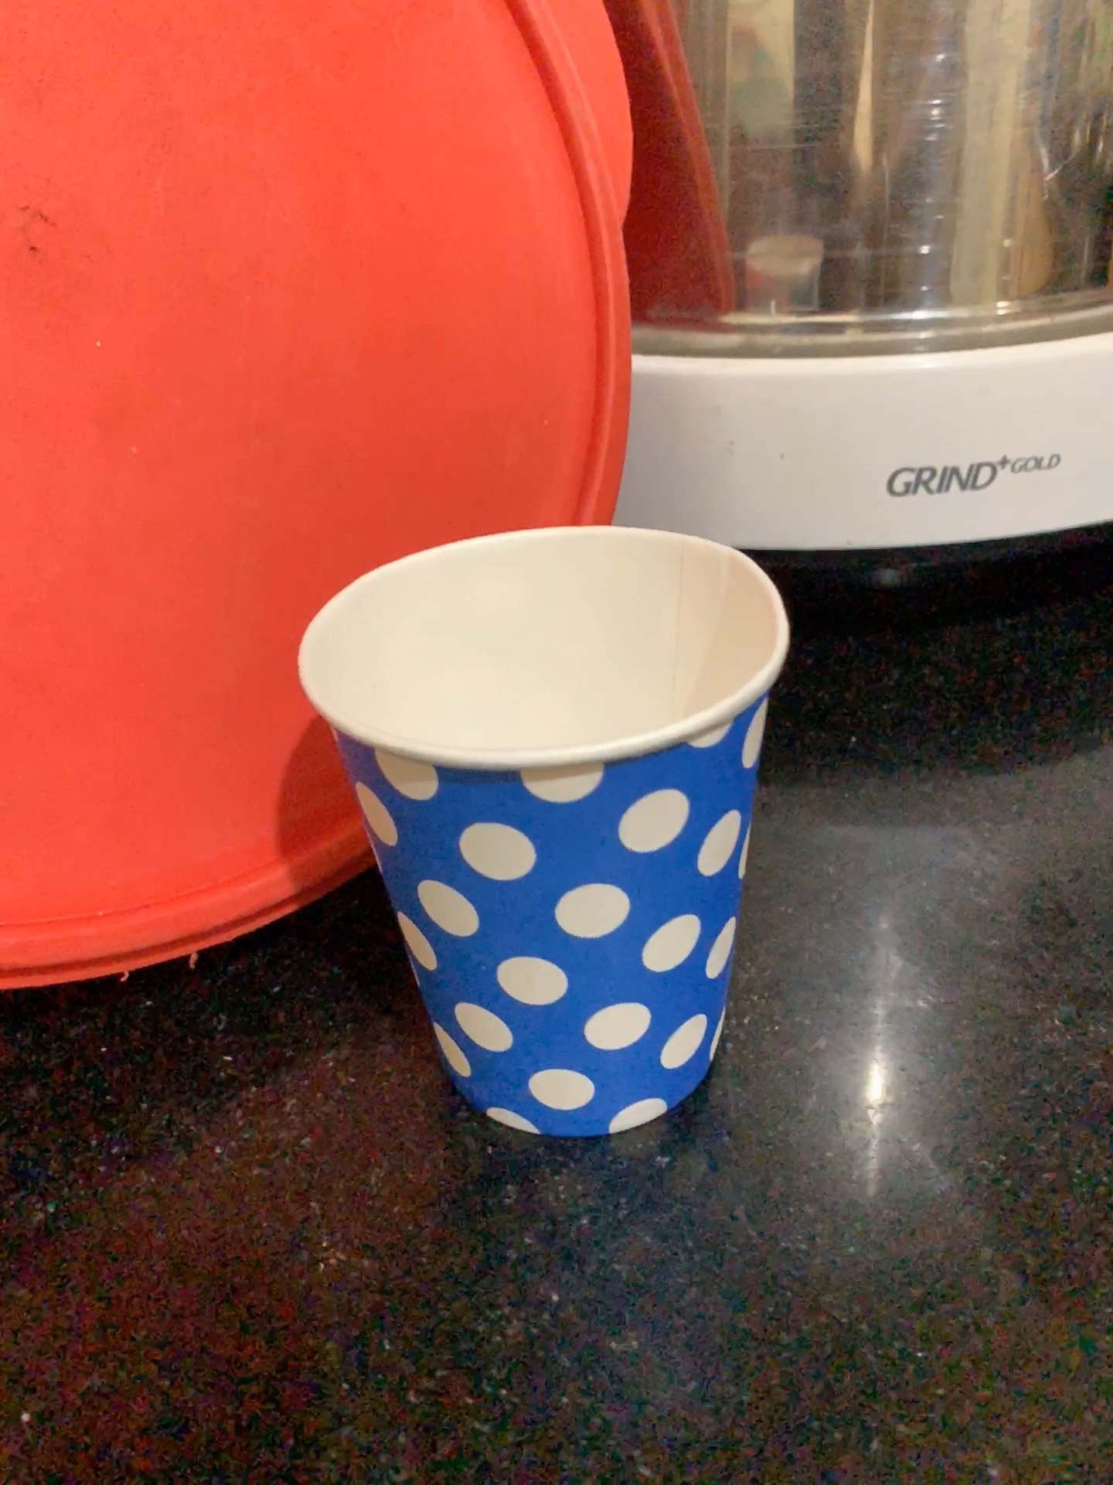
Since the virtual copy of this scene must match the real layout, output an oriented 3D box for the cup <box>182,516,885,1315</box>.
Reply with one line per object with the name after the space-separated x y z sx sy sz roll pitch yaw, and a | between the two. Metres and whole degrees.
0.002 0.019 0.180 0.070 0.079 0.070 -4 31 2 | cup
